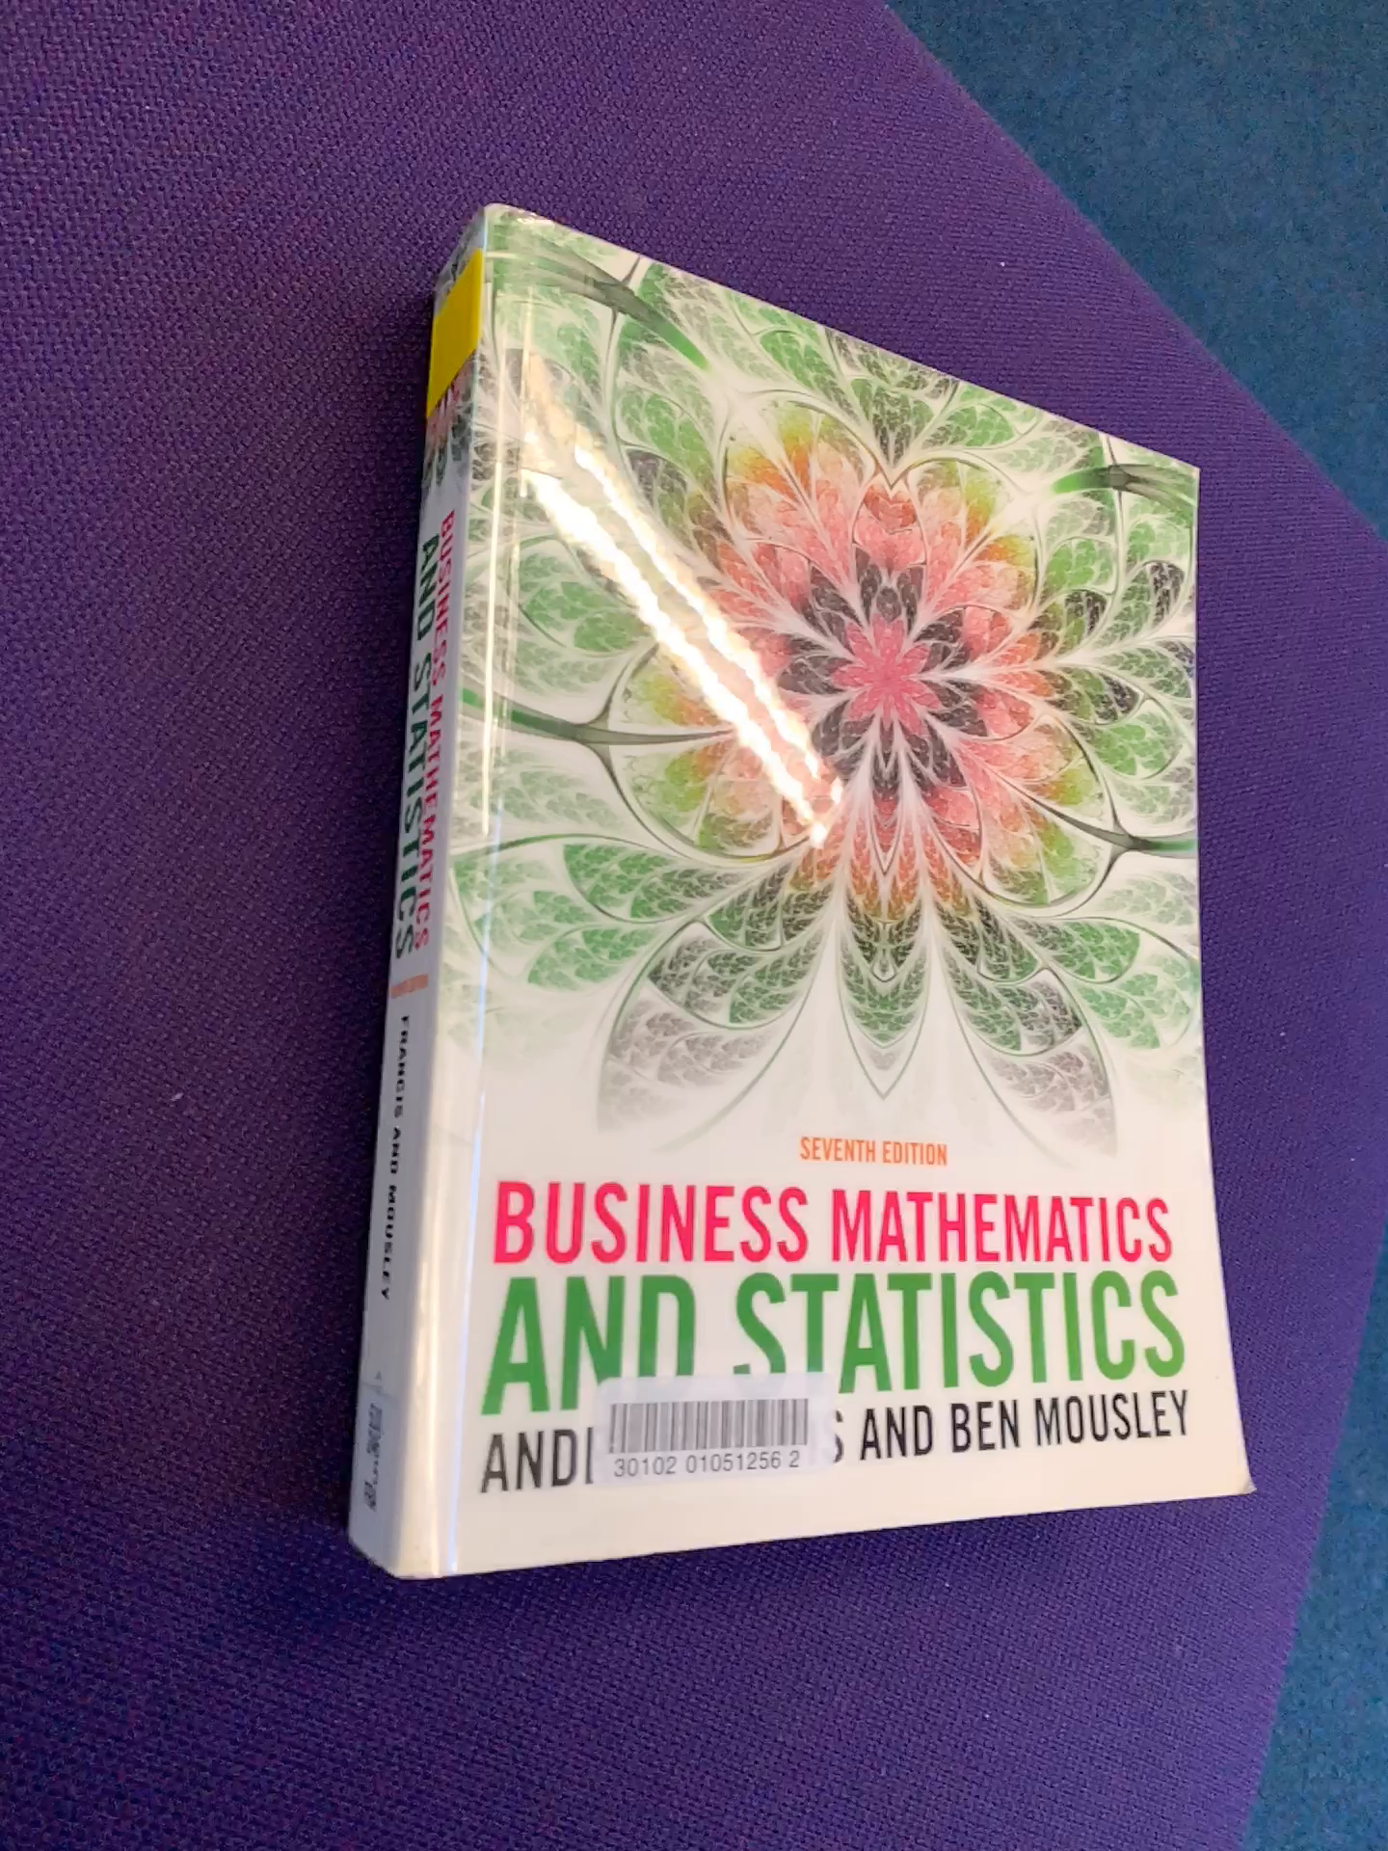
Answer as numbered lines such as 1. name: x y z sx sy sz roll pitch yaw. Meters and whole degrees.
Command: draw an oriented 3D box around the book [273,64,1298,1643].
1. book: 0.031 -0.010 0.298 0.201 0.050 0.260 8 76 -29
